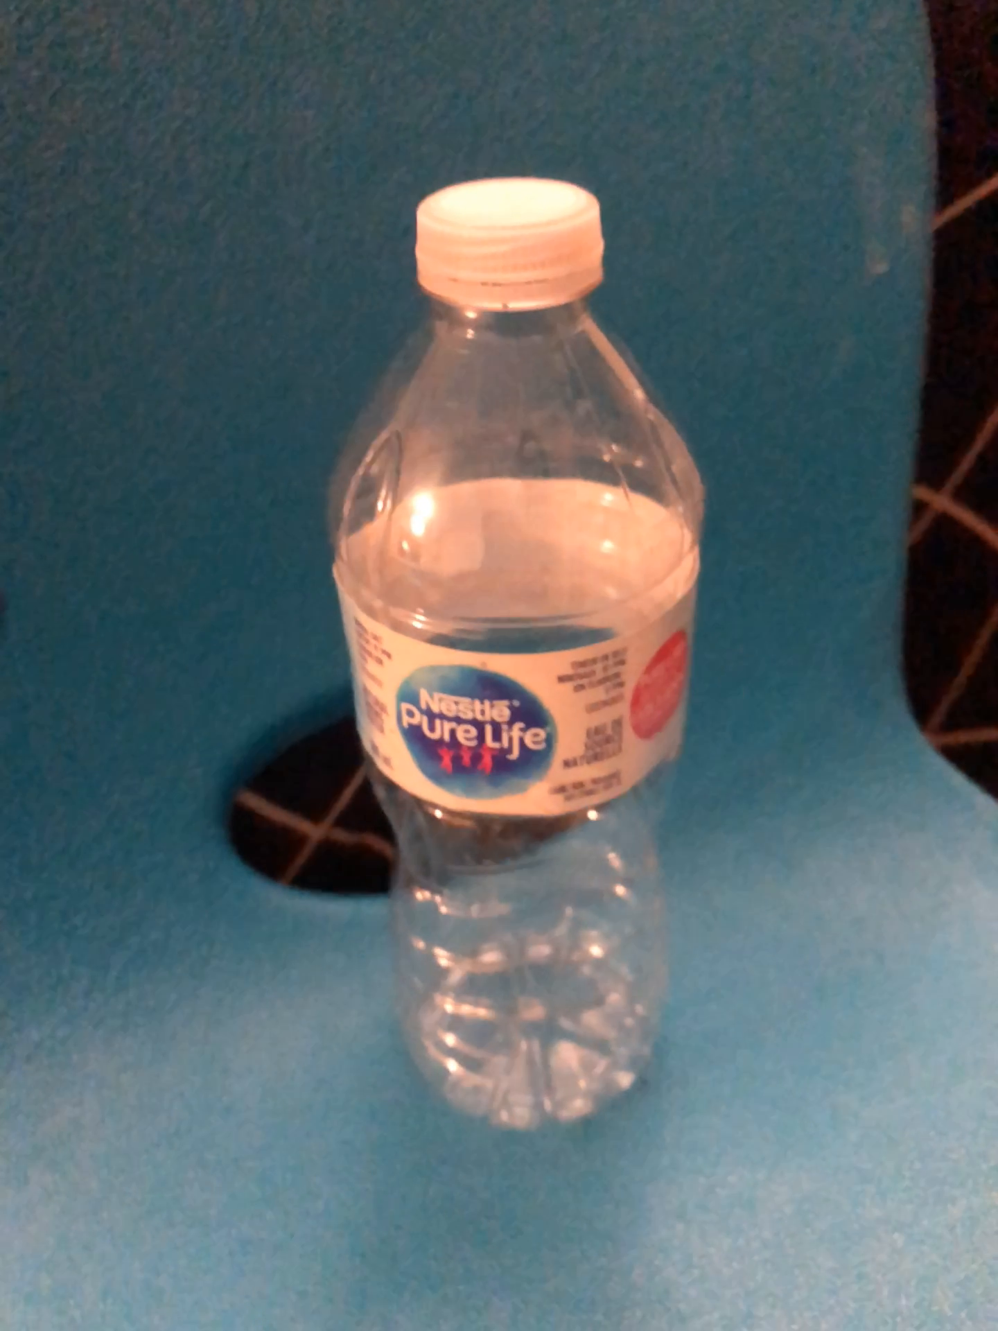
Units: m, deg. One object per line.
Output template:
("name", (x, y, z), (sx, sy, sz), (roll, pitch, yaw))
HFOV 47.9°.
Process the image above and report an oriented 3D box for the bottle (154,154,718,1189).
("bottle", (0.000, 0.007, 0.222), (0.070, 0.189, 0.070), (-2, 31, 1))
